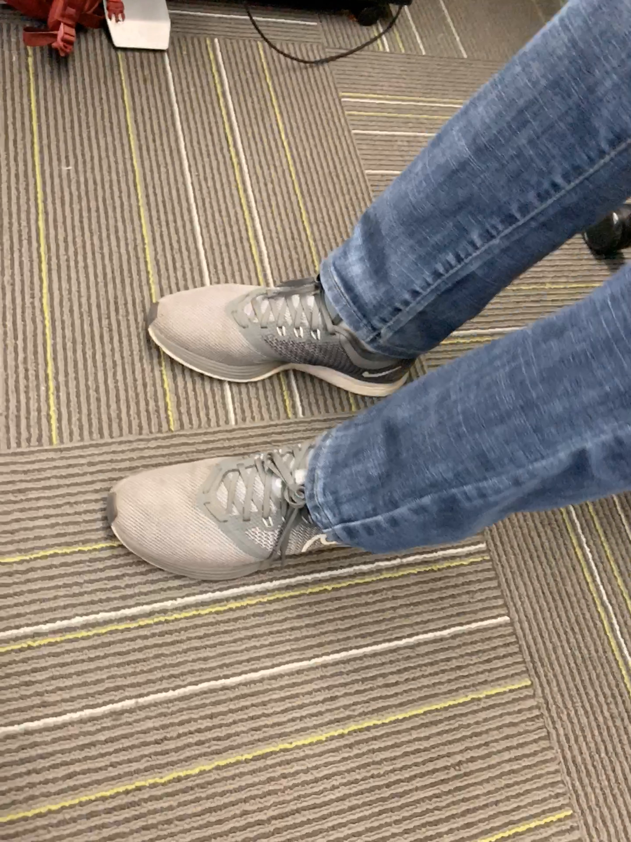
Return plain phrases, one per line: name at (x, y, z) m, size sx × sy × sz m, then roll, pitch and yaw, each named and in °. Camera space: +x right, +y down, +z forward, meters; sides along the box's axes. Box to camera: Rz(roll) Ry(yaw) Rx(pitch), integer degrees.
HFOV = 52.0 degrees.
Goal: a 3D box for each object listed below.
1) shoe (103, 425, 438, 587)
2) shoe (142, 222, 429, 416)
shoe at (-0.042, 0.081, 0.606) m, size 0.286 × 0.078 × 0.124 m, roll 2°, pitch 64°, yaw -14°
shoe at (-0.028, -0.105, 0.689) m, size 0.283 × 0.078 × 0.133 m, roll 10°, pitch 63°, yaw -10°
